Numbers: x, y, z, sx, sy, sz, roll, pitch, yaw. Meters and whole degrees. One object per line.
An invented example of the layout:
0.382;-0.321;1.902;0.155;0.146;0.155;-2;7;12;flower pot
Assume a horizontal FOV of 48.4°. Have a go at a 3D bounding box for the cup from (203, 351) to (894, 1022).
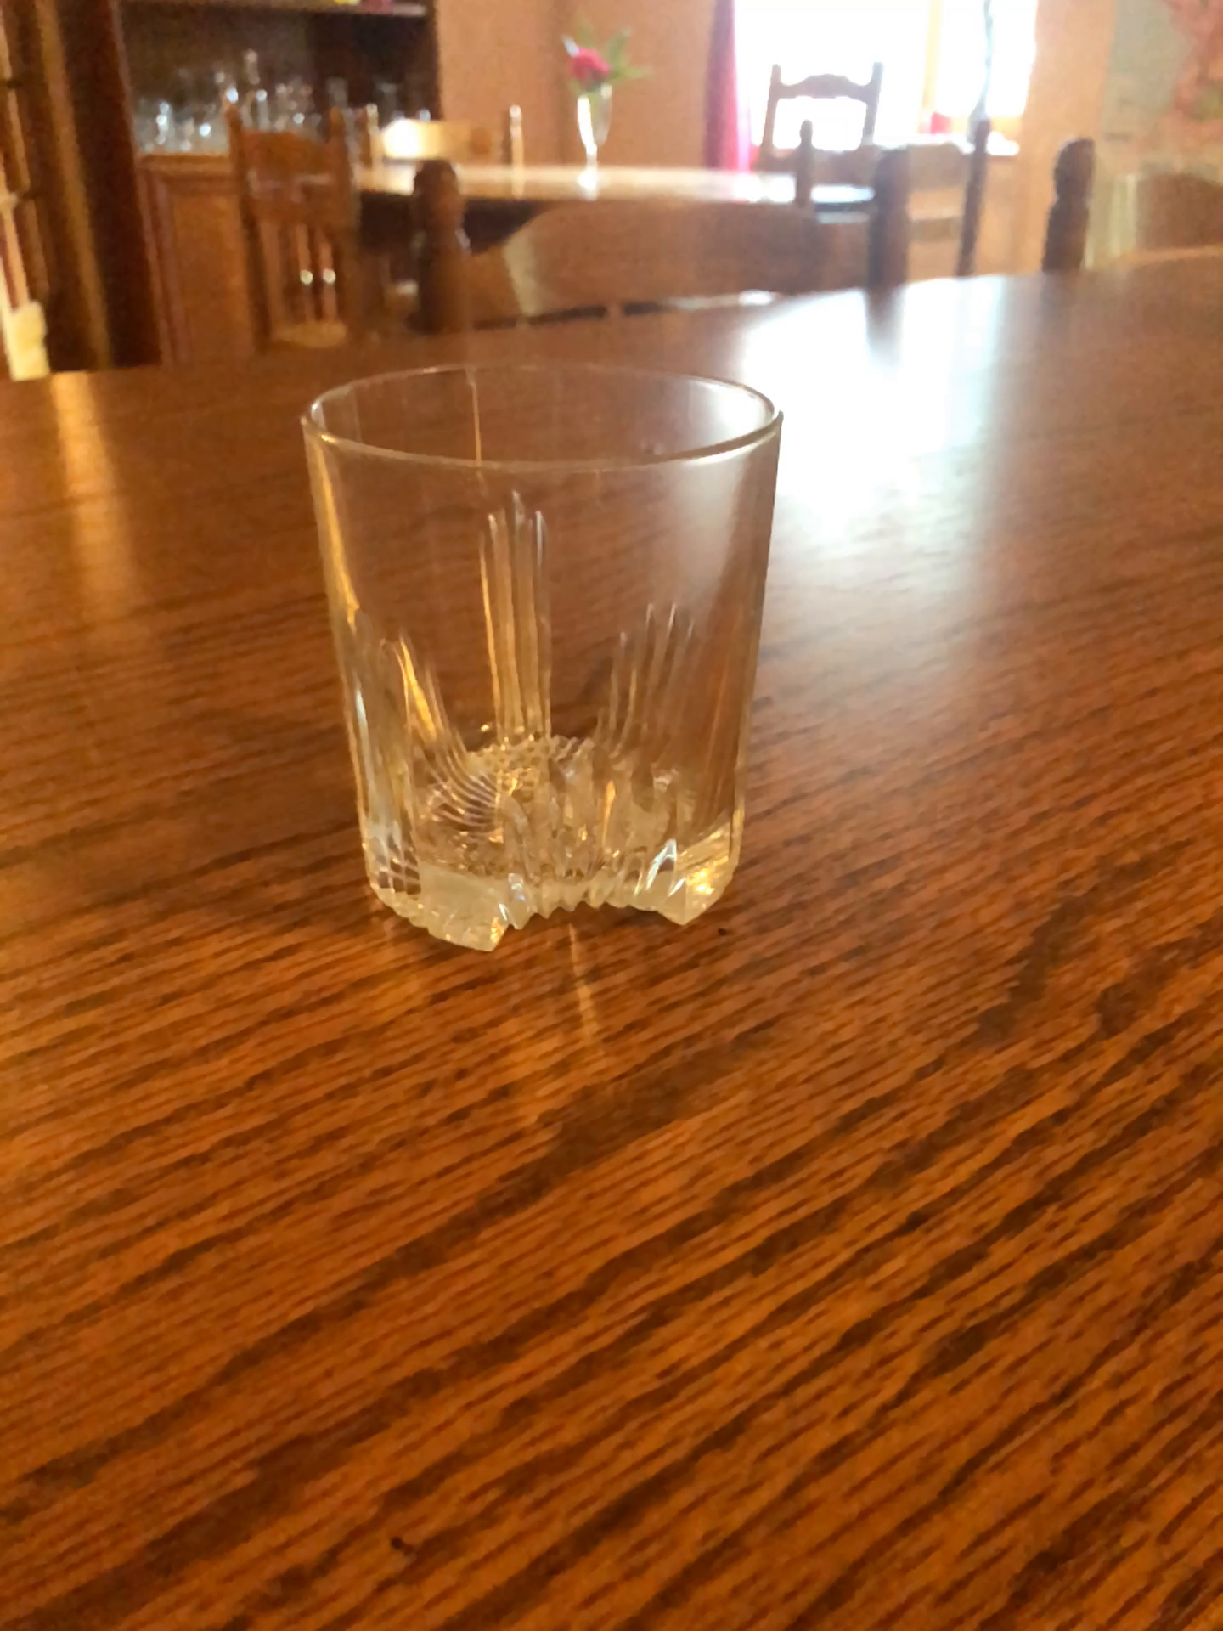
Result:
-0.011;-0.032;0.248;0.085;0.084;0.080;0;27;0;cup
